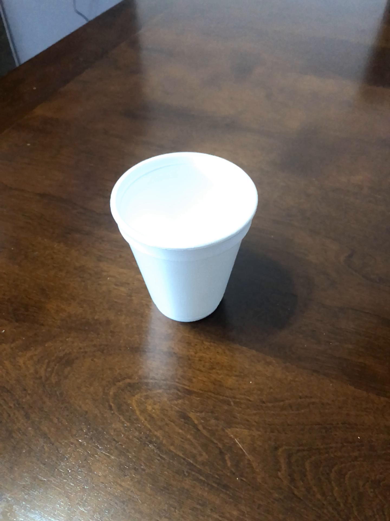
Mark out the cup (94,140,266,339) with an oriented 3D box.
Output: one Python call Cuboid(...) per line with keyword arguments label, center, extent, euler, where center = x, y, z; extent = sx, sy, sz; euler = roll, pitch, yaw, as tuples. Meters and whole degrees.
Cuboid(label="cup", center=(-0.004, -0.012, 0.259), extent=(0.080, 0.080, 0.080), euler=(0, 47, 0))
